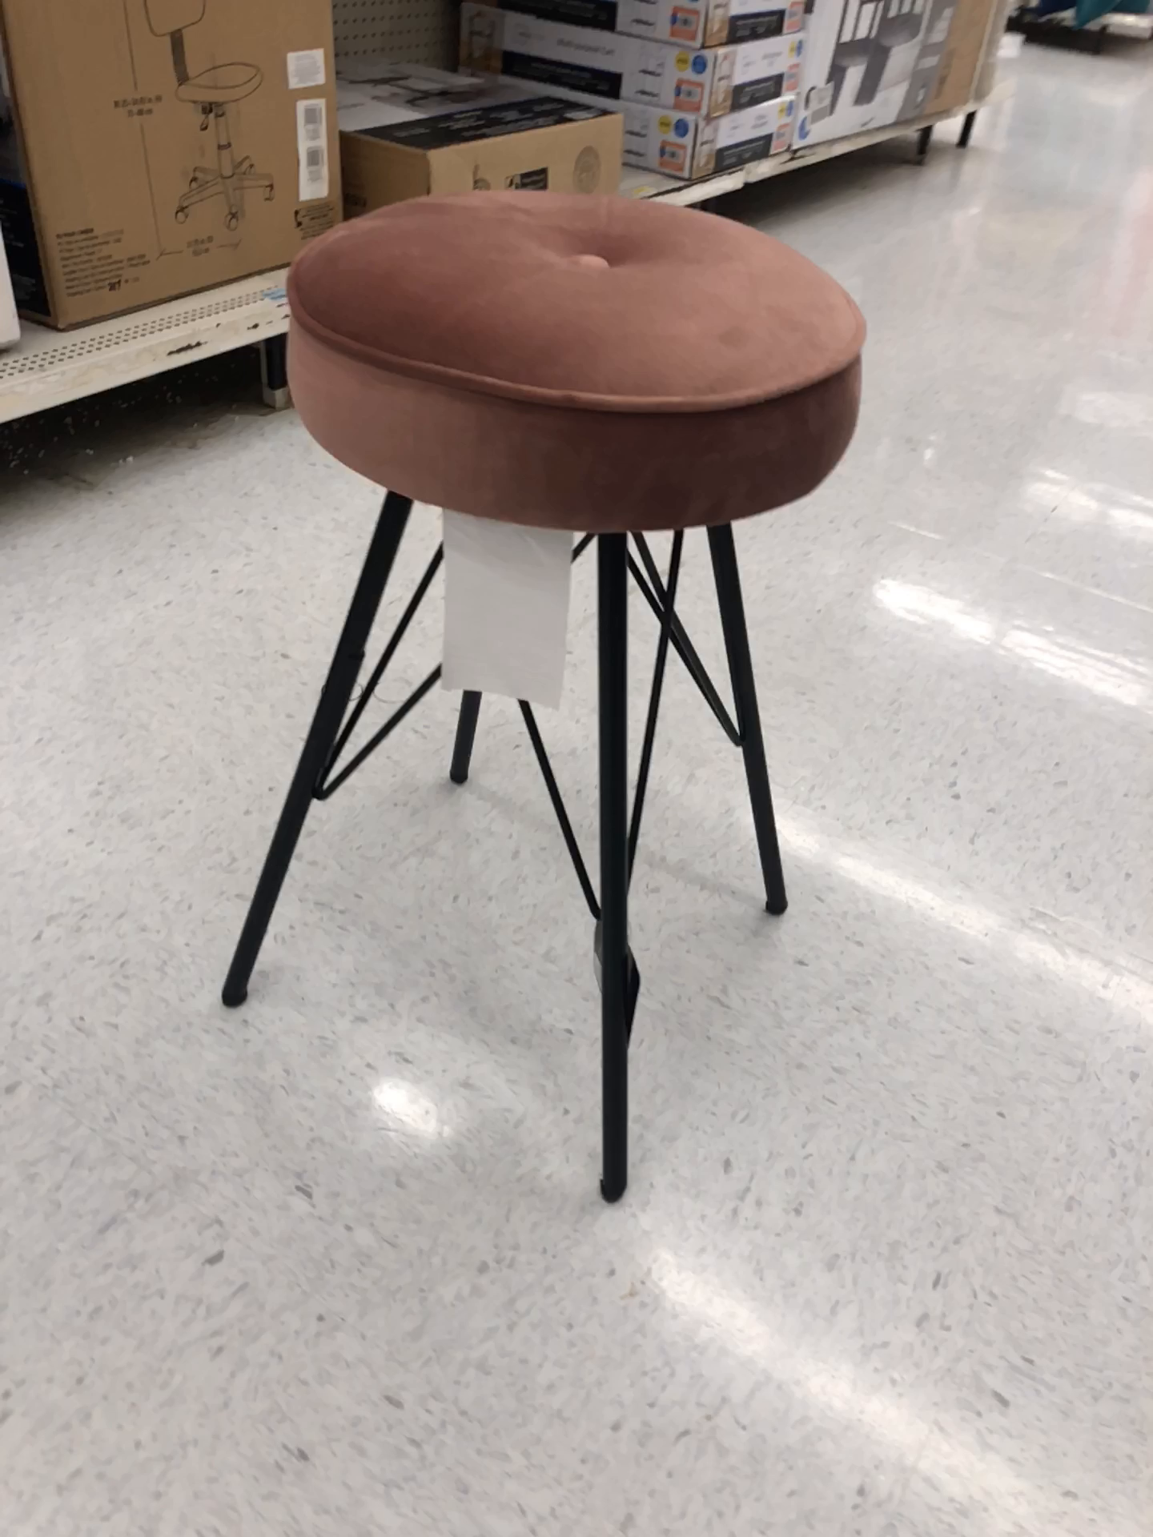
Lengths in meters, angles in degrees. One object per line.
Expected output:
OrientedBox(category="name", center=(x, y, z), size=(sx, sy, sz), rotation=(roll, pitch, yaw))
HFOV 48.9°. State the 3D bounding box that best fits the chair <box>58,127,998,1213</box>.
OrientedBox(category="chair", center=(-0.023, -0.080, 0.807), size=(0.361, 0.498, 0.351), rotation=(22, 40, 20))
